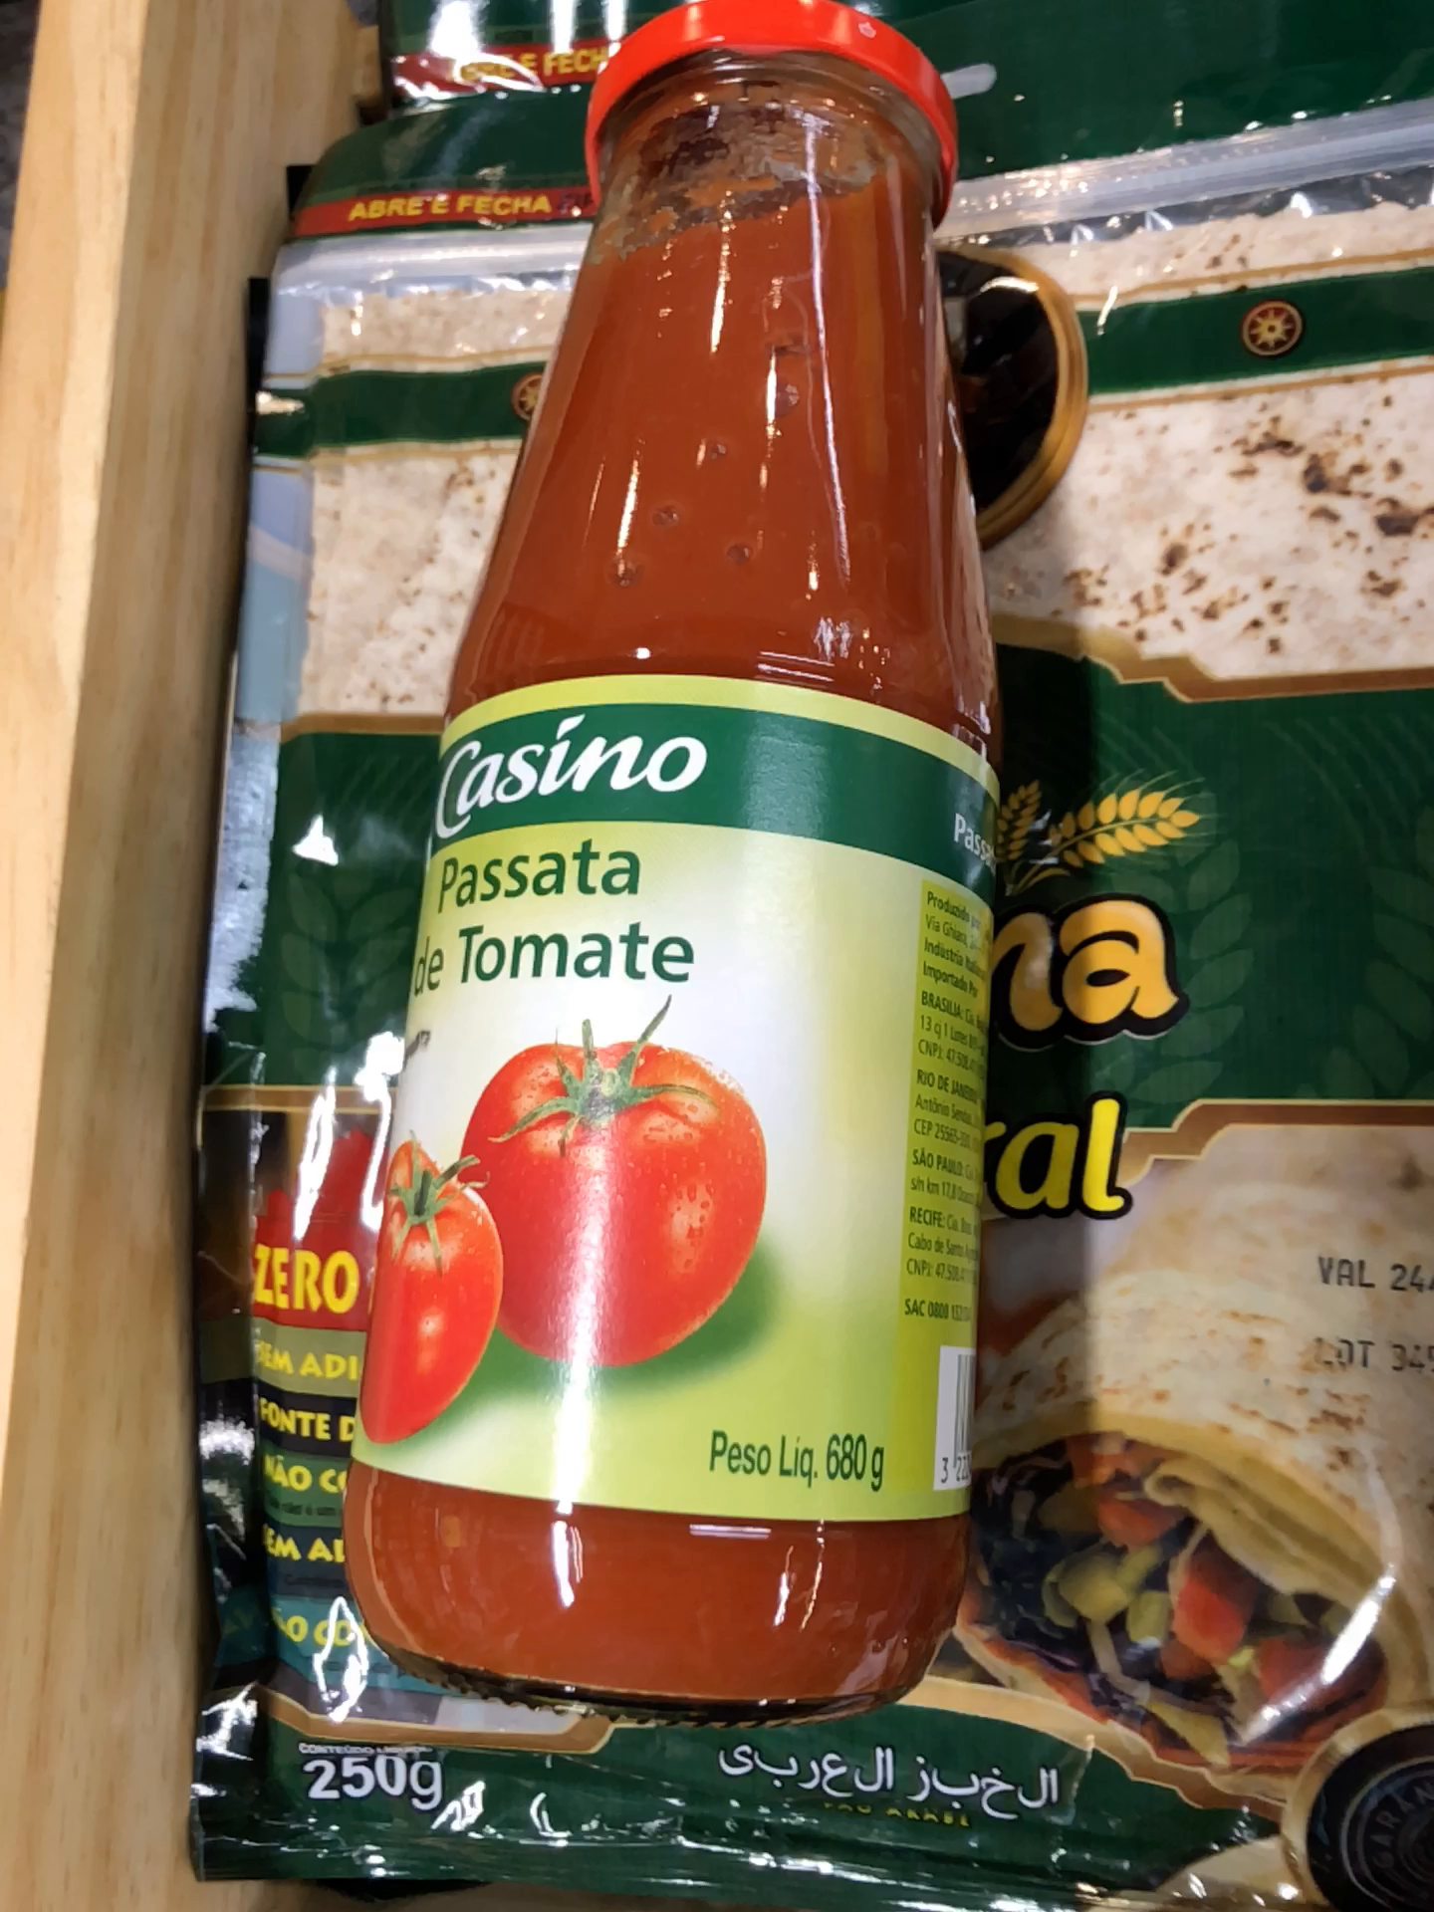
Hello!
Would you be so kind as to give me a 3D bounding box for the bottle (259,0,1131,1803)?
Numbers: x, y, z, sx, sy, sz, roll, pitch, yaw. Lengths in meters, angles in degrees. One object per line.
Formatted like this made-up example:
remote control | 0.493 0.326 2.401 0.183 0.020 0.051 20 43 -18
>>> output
bottle | 0.005 -0.027 0.219 0.070 0.080 0.230 -6 76 40
